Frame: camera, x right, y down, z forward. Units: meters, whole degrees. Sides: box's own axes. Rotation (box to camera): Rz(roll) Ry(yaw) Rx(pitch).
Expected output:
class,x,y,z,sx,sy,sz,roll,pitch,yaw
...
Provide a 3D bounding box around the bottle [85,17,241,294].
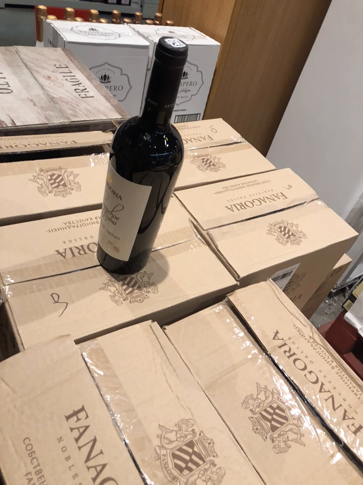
class,x,y,z,sx,sy,sz,roll,pitch,yaw
bottle,-0.044,-0.081,0.479,0.090,0.308,0.100,-9,50,-28
